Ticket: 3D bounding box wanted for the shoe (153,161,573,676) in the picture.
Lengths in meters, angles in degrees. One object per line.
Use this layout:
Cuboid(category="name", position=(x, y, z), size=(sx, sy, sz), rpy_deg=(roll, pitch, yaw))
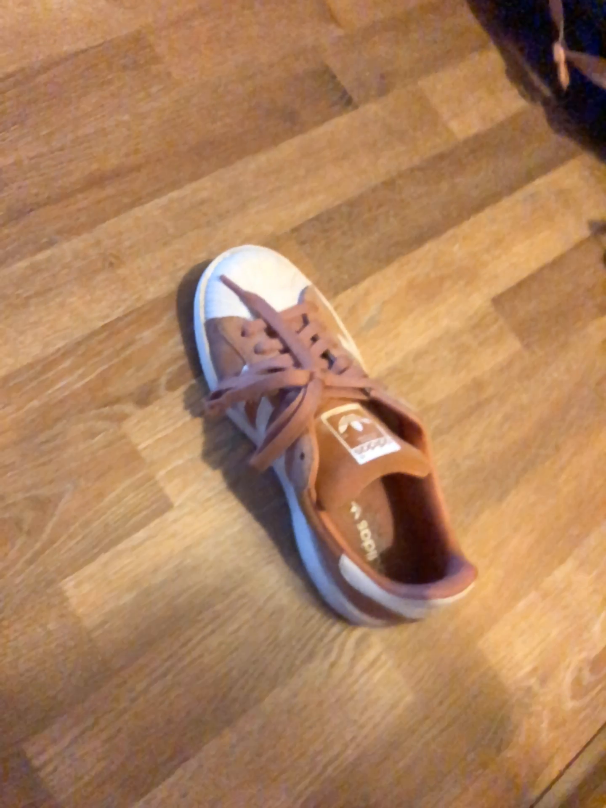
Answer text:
Cuboid(category="shoe", position=(0.023, 0.009, 0.411), size=(0.110, 0.110, 0.260), rpy_deg=(-26, 83, -22))
